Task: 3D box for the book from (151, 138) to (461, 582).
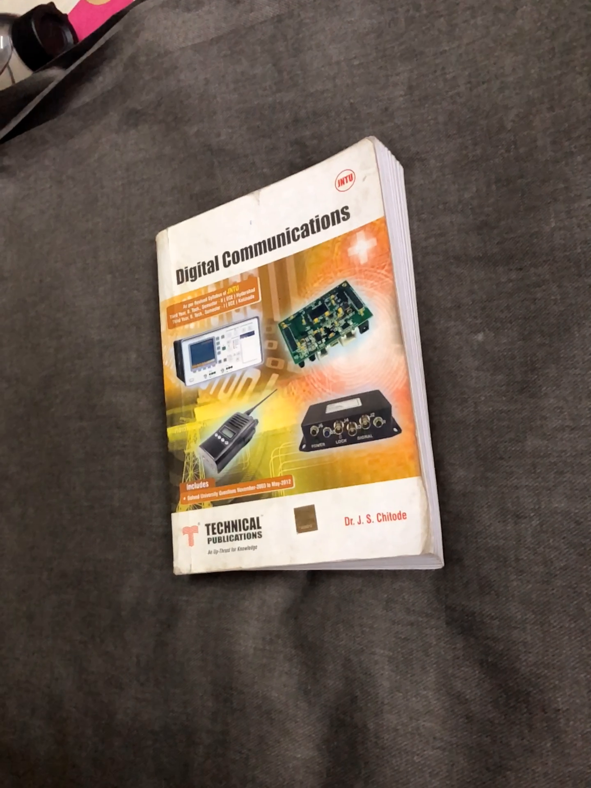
[{"bbox_3d":[-0.006,-0.009,0.420,0.182,0.050,0.241,-12,77,33],"label":"book"}]
